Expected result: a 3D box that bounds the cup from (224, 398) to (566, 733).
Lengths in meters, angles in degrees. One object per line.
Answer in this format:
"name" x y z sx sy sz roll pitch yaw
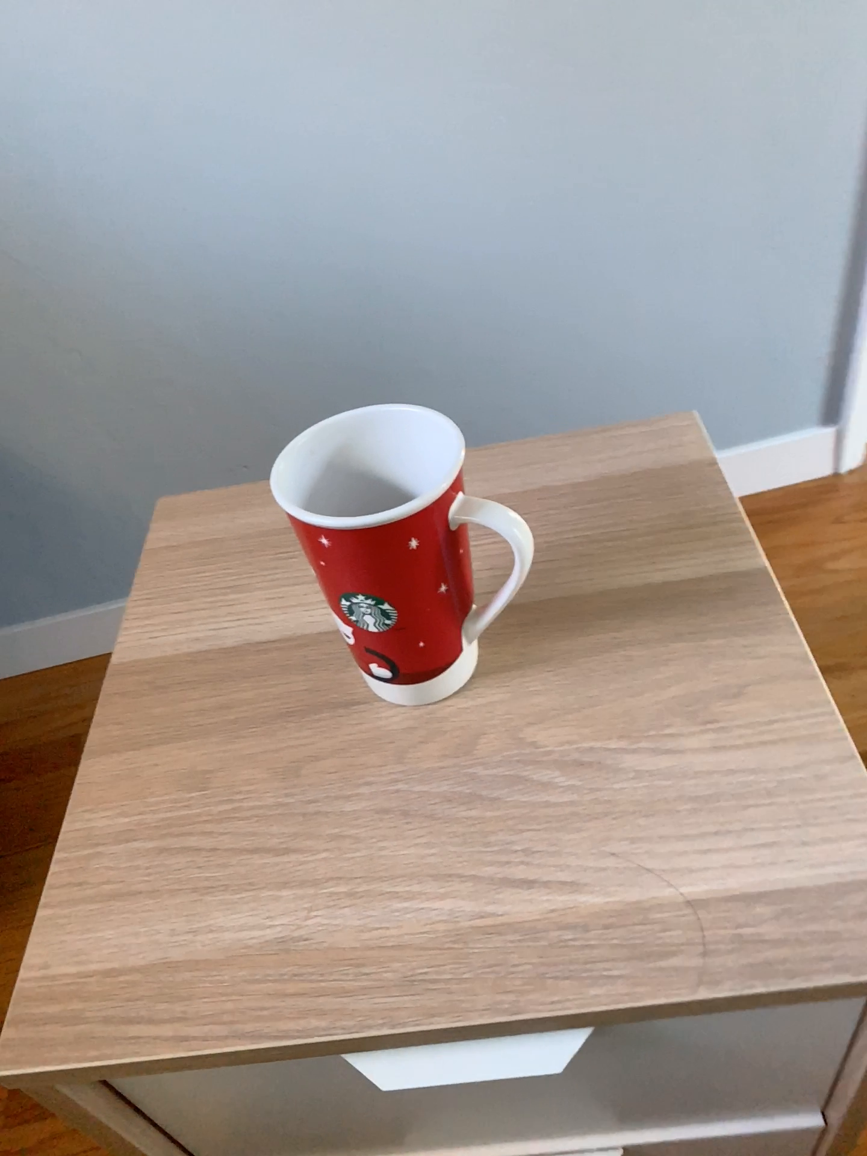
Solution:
"cup" -0.008 -0.005 0.453 0.130 0.149 0.080 3 46 17
